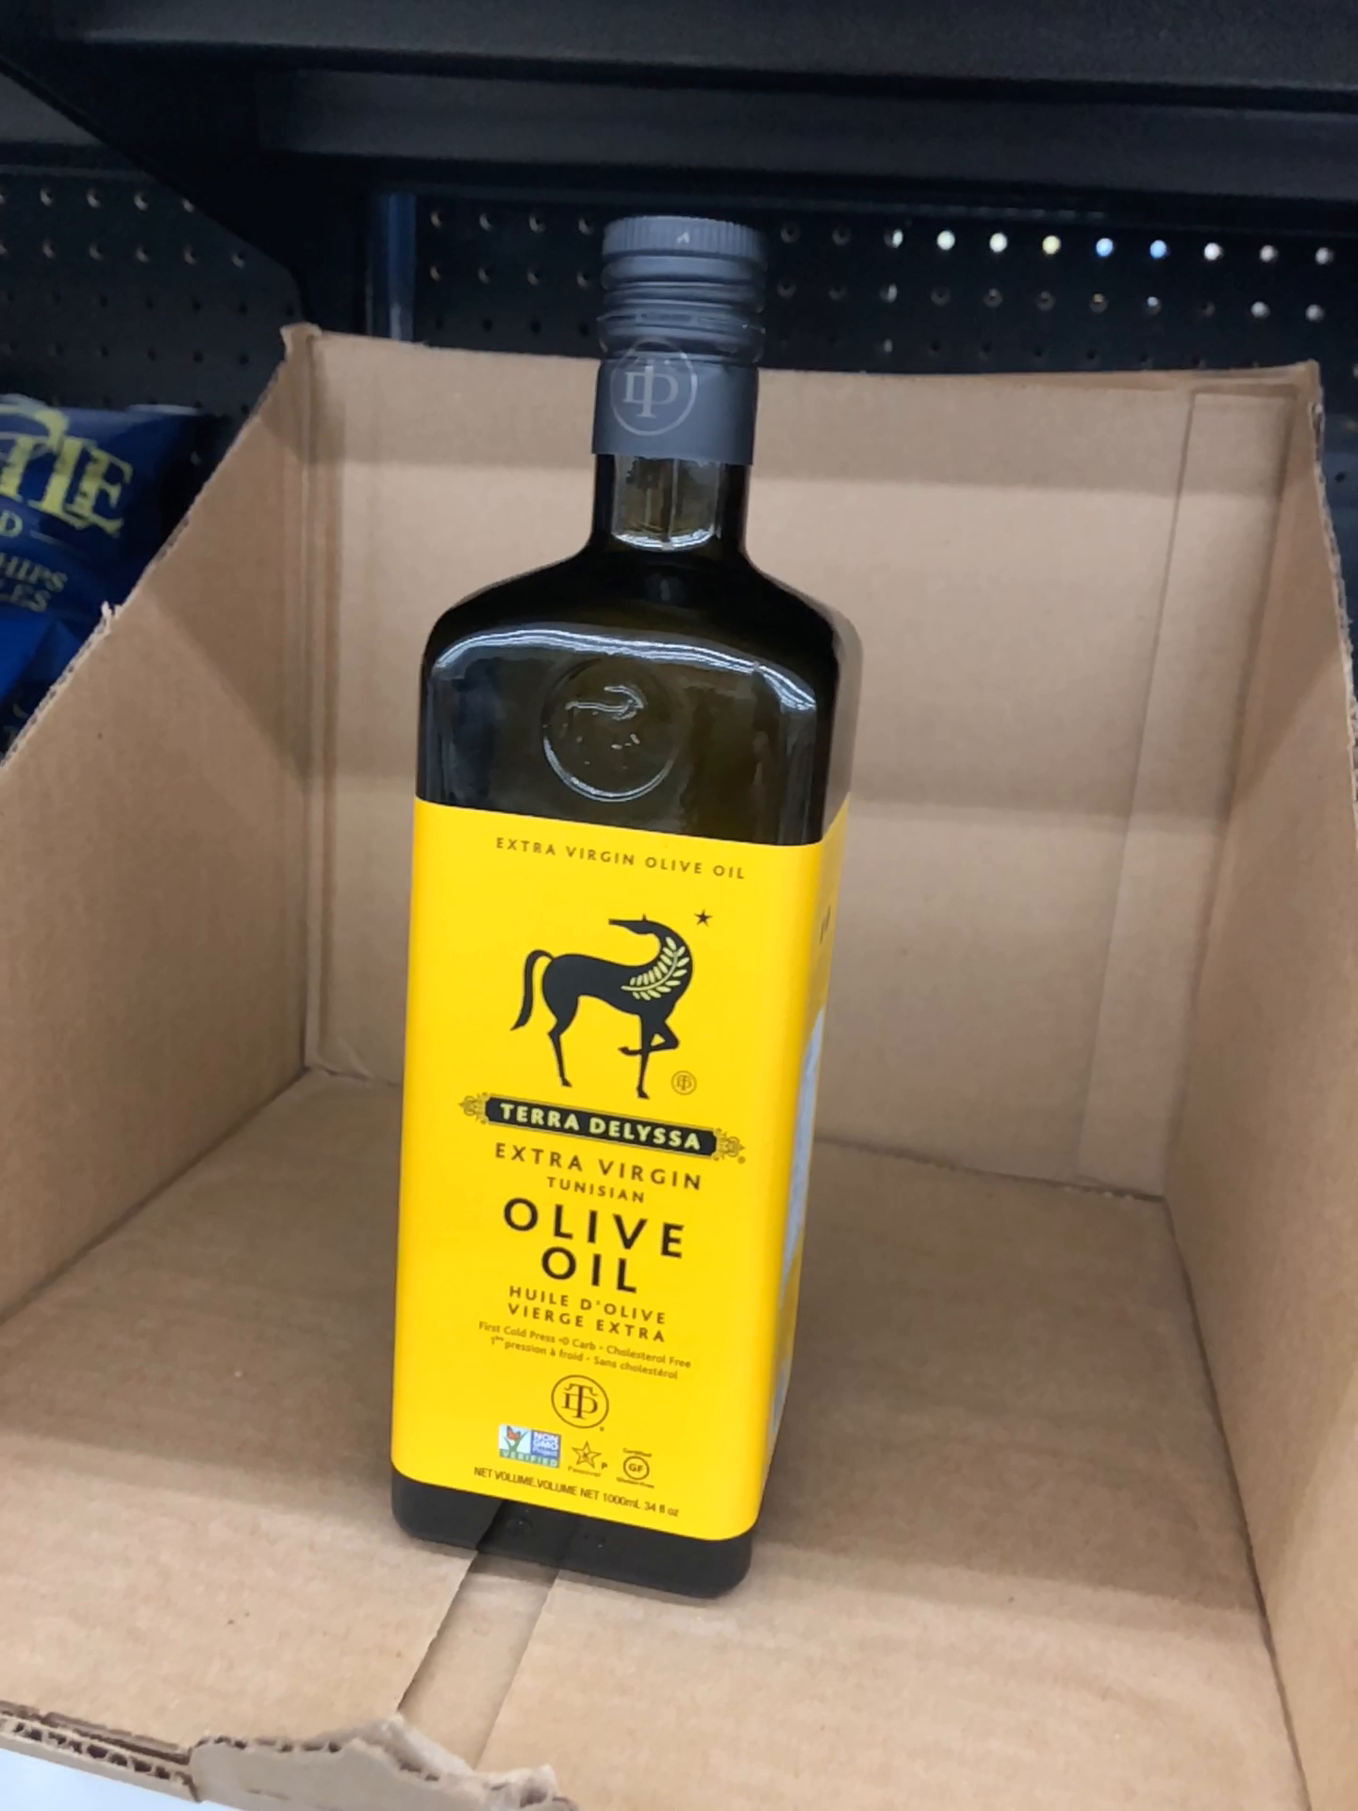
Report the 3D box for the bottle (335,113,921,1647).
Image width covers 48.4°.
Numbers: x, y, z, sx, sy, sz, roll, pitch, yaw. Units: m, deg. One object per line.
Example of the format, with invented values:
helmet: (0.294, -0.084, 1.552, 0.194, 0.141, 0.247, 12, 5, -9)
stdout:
bottle: (-0.011, -0.001, 0.325, 0.090, 0.288, 0.090, 3, 17, -1)
